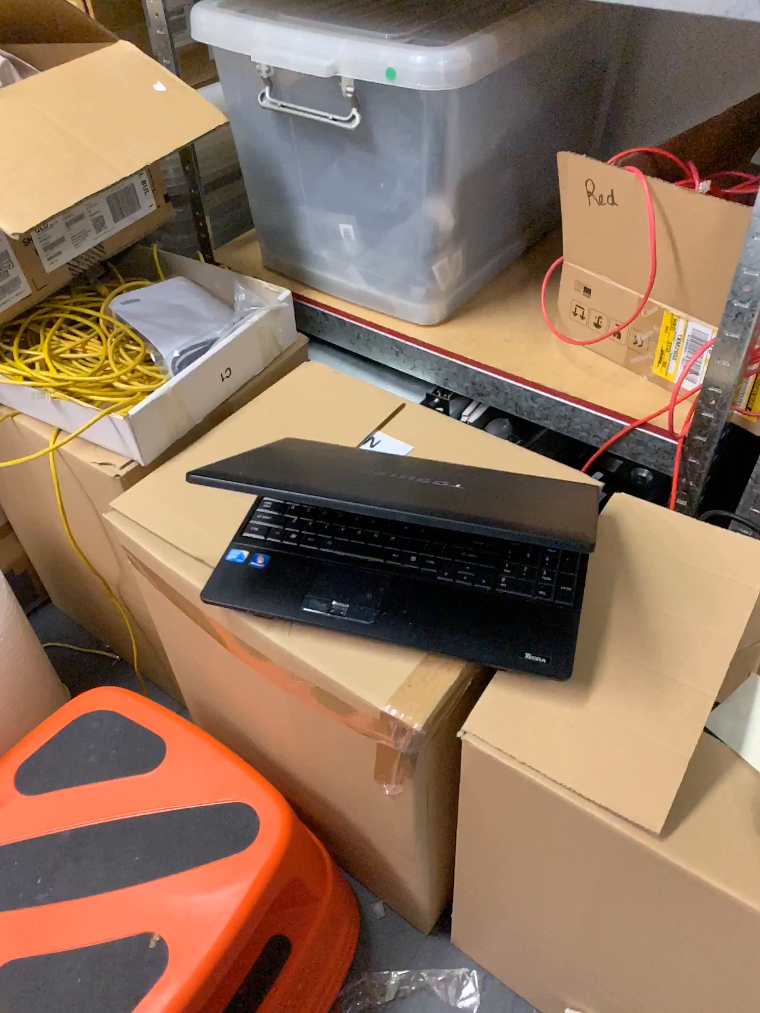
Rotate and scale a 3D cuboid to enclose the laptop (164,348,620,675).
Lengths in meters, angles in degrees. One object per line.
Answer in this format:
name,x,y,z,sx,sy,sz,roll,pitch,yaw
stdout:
laptop,0.025,-0.008,0.751,0.354,0.135,0.232,10,48,12
